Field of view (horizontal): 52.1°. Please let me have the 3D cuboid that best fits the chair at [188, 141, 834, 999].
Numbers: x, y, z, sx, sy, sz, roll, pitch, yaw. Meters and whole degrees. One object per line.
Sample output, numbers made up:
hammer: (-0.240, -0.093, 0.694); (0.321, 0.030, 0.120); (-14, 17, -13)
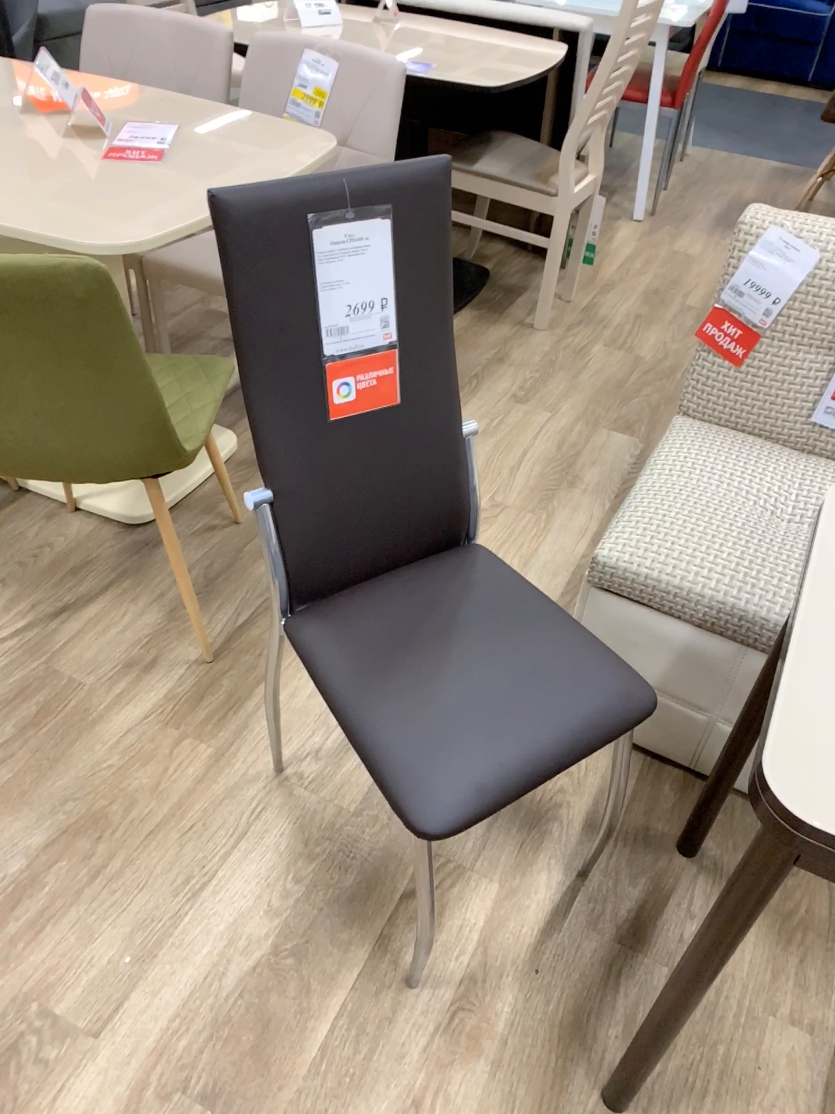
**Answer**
chair: (0.040, 0.060, 1.163); (0.421, 0.995, 0.502); (-21, 47, -26)
